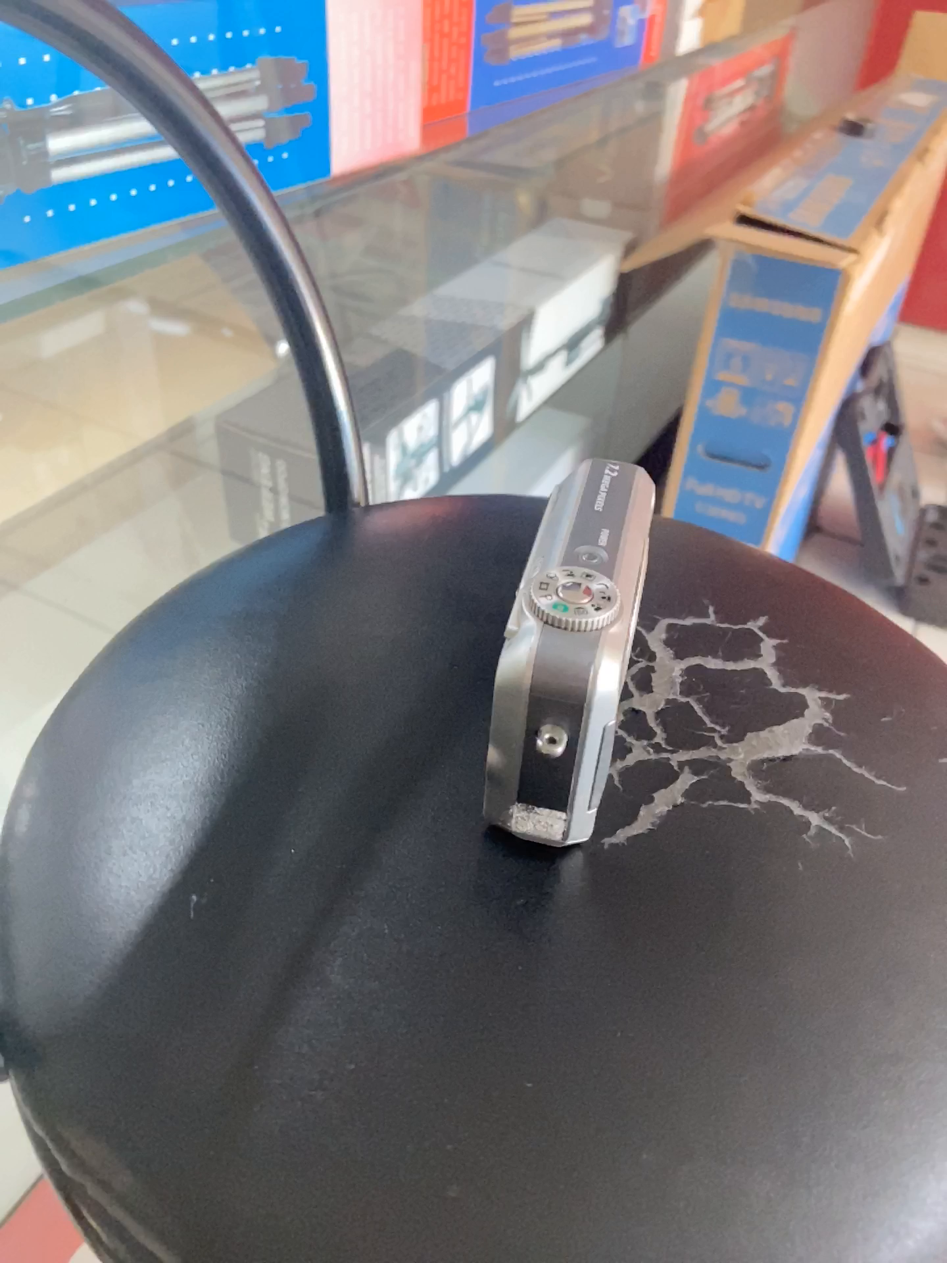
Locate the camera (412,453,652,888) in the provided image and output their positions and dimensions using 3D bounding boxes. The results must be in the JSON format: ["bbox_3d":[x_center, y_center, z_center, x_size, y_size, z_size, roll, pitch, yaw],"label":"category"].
[{"bbox_3d":[0.017,0.004,0.244,0.040,0.050,0.101,10,38,7],"label":"camera"}]
